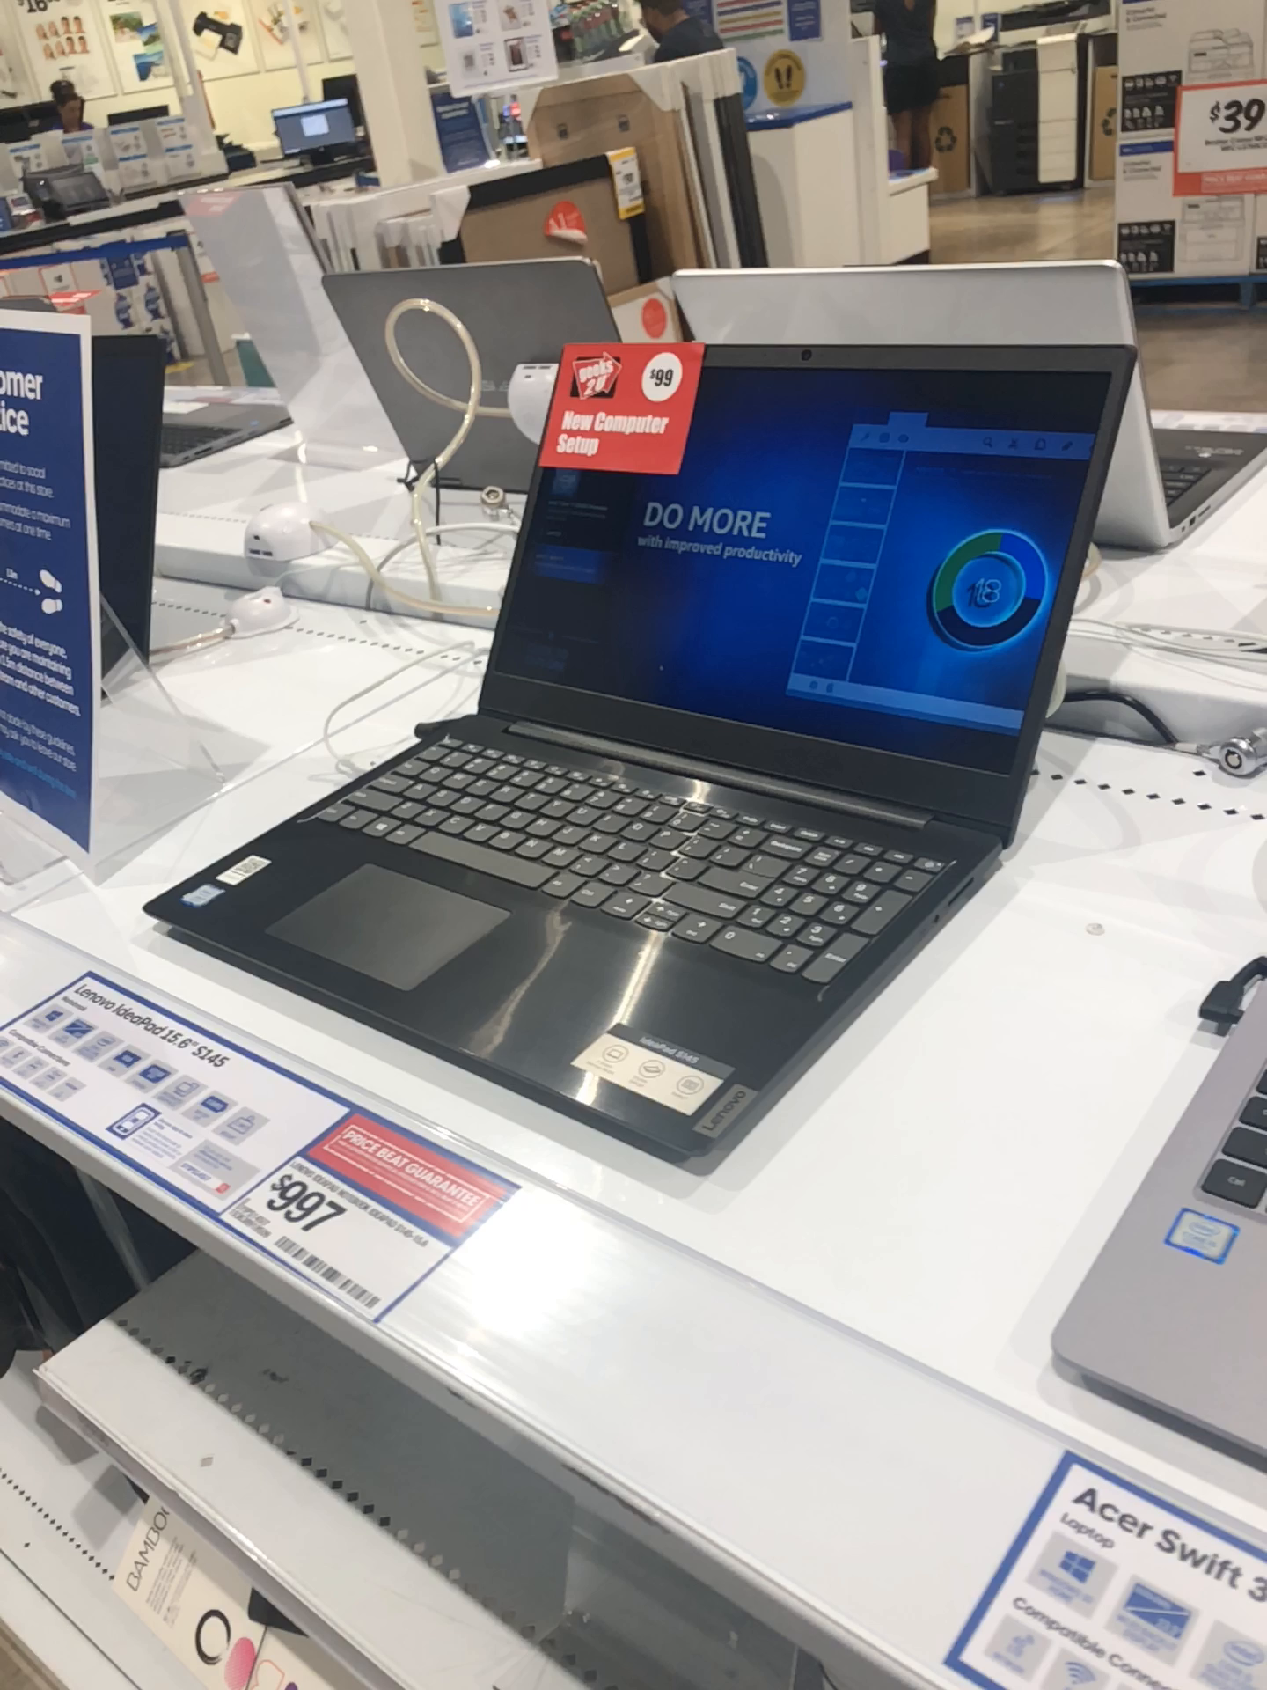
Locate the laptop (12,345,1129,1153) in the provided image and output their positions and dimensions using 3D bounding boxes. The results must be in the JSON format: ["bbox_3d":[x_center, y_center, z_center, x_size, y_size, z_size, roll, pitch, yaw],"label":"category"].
[{"bbox_3d":[-0.009,-0.098,0.680,0.353,0.192,0.373,16,38,37],"label":"laptop"}]
